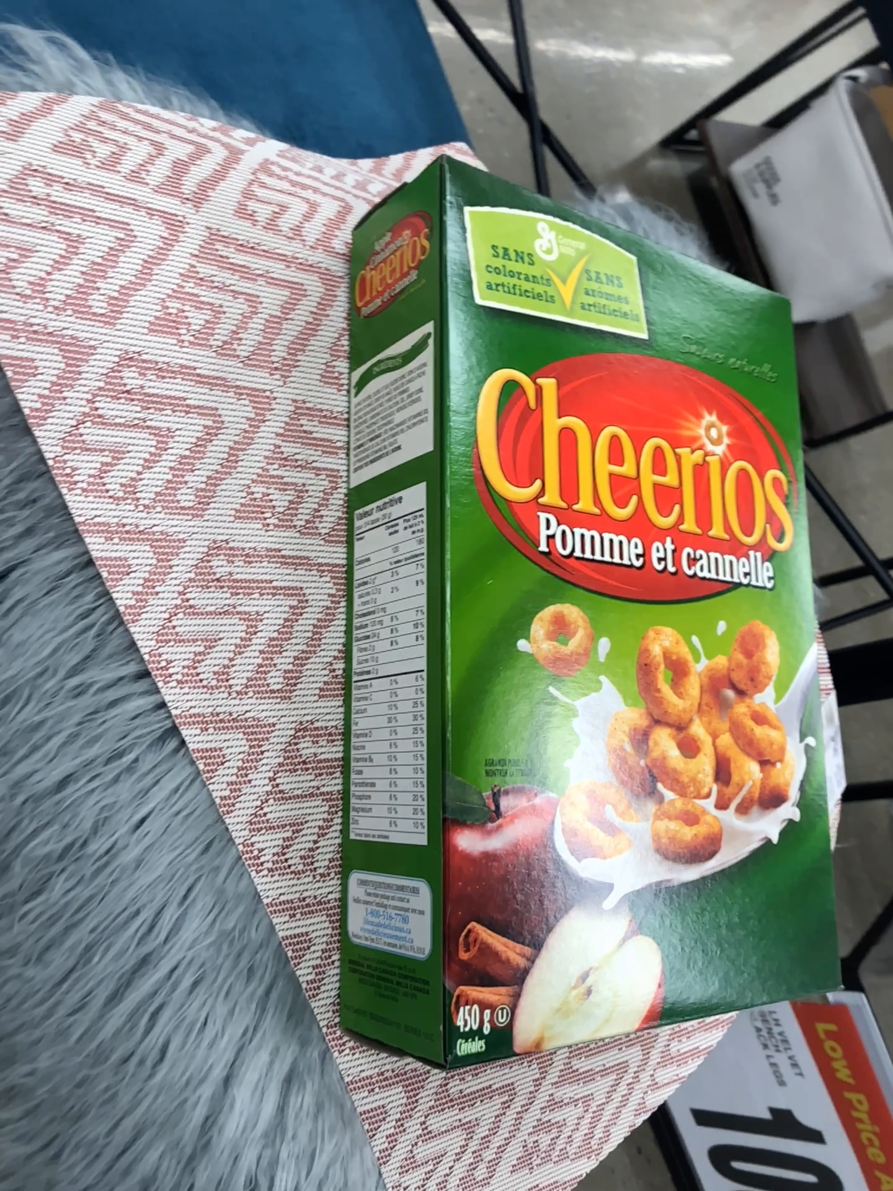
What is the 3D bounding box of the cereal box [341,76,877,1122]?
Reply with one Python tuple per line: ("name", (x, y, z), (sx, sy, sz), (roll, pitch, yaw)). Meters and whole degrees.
("cereal box", (0.070, 0.003, 0.384), (0.211, 0.070, 0.310), (7, 79, -38))
